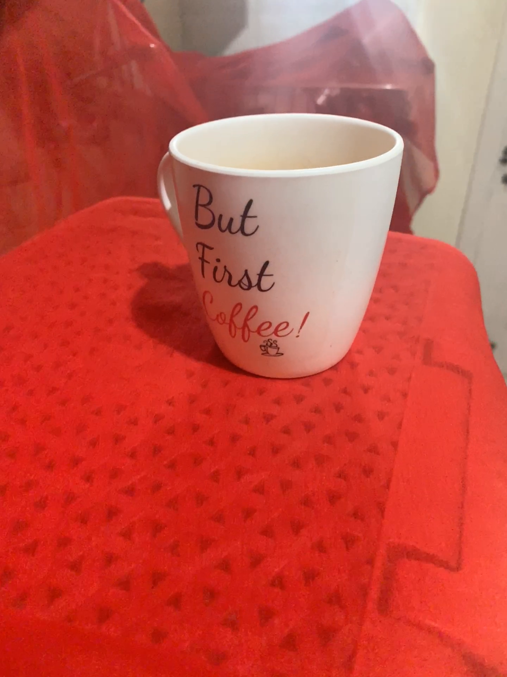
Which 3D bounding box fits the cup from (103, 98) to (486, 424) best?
[{"bbox_3d":[0.014,-0.043,0.220,0.110,0.079,0.090,27,42,35],"label":"cup"}]
